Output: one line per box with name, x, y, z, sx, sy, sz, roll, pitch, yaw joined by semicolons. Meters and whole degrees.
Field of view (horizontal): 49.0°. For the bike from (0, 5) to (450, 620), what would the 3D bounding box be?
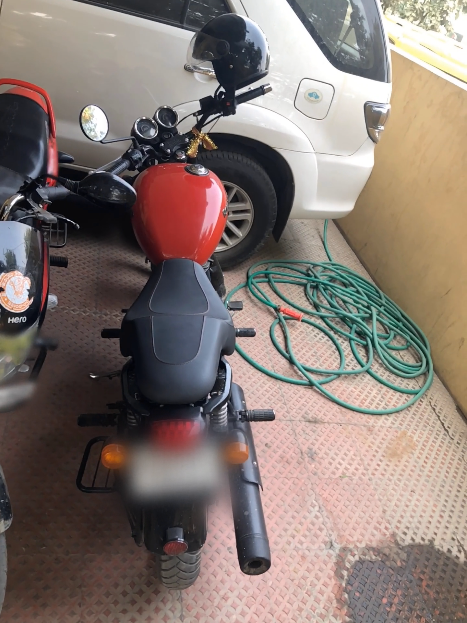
bike;-0.333;-0.120;1.807;0.820;1.270;1.721;9;35;-17
